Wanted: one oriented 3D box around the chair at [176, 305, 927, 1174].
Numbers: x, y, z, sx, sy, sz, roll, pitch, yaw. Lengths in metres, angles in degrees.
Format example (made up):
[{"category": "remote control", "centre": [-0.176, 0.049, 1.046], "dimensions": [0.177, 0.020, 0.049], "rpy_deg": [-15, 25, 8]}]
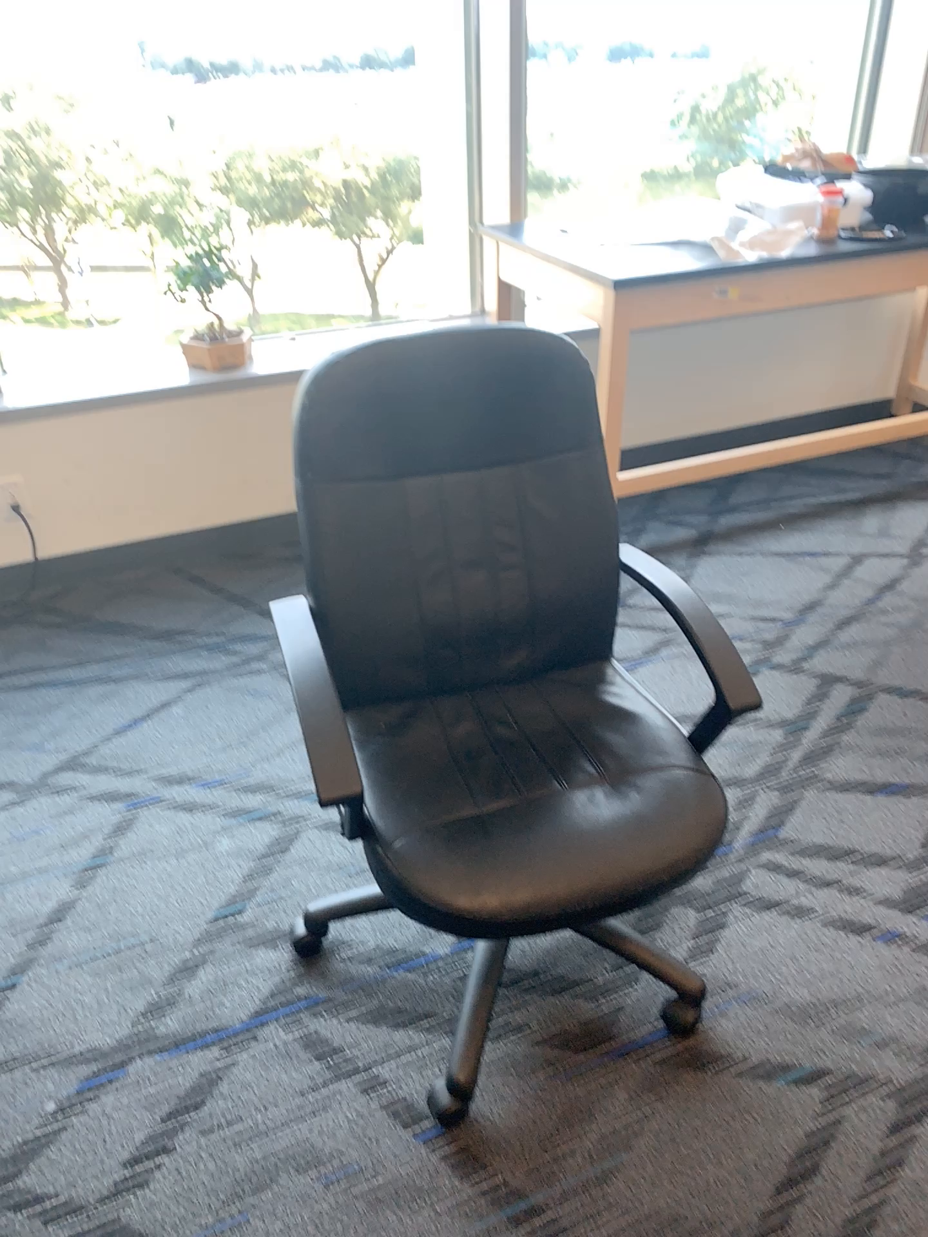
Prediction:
[{"category": "chair", "centre": [0.047, 0.107, 1.391], "dimensions": [0.701, 0.892, 0.695], "rpy_deg": [-12, 32, -16]}]
